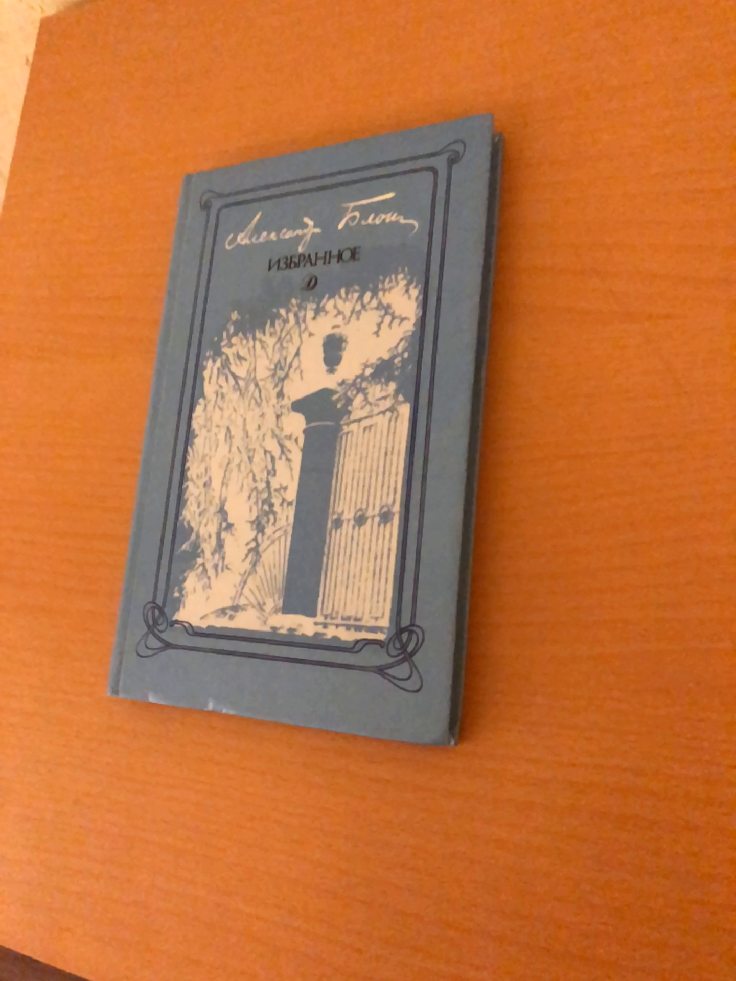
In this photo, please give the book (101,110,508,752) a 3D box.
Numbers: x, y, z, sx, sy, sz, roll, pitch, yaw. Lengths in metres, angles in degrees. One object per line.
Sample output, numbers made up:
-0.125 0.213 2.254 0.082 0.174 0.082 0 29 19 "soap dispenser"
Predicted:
-0.024 -0.025 0.296 0.135 0.020 0.210 0 79 26 "book"
